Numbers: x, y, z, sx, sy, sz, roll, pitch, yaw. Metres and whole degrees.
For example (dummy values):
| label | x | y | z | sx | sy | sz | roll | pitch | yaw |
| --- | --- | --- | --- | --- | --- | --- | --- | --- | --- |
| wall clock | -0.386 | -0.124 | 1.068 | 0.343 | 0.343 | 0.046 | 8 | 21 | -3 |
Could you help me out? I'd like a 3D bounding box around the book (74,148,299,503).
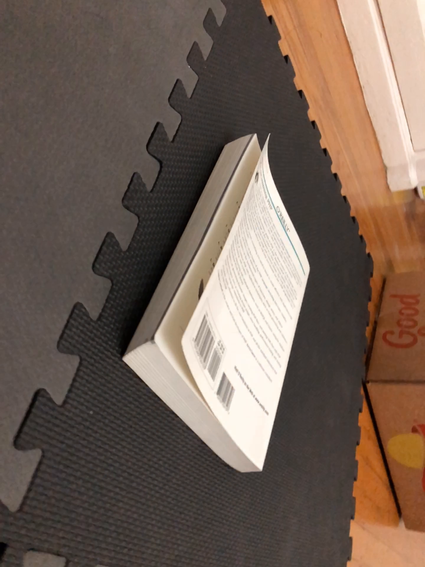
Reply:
| label | x | y | z | sx | sy | sz | roll | pitch | yaw |
| --- | --- | --- | --- | --- | --- | --- | --- | --- | --- |
| book | 0.008 | 0.037 | 0.503 | 0.230 | 0.040 | 0.291 | 58 | 40 | -36 |
